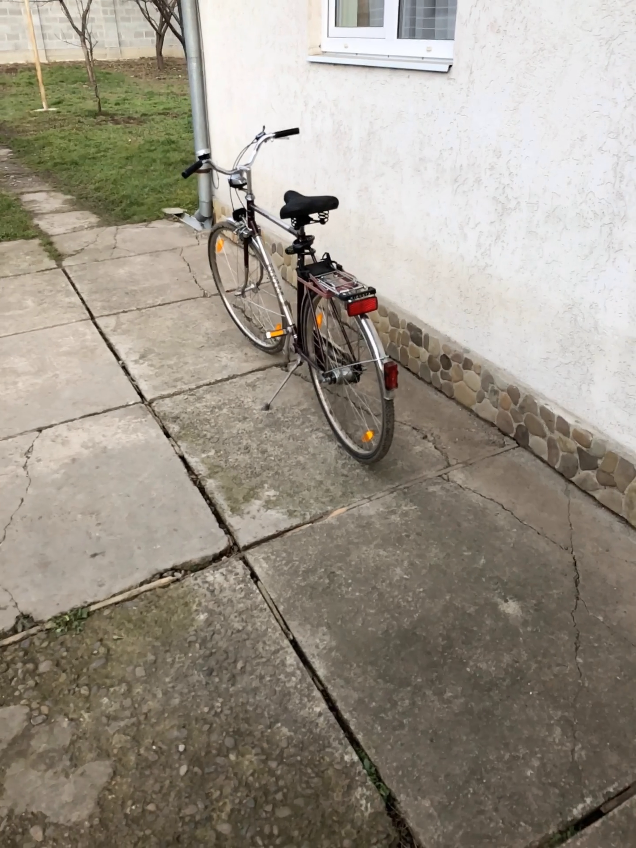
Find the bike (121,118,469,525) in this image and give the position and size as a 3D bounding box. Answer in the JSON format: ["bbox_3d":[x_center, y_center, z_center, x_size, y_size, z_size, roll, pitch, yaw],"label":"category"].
[{"bbox_3d":[-0.221,-0.569,2.826,0.597,1.054,1.719,-14,33,-23],"label":"bike"}]
